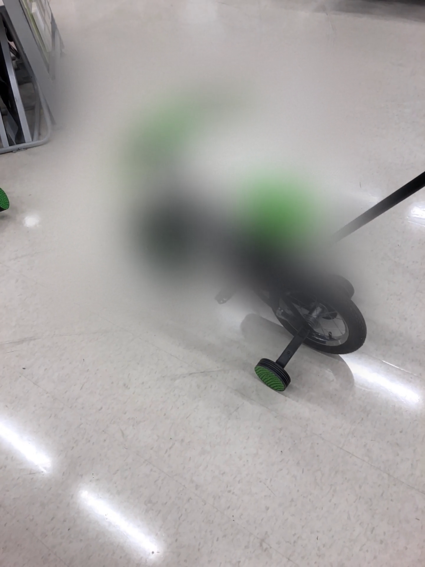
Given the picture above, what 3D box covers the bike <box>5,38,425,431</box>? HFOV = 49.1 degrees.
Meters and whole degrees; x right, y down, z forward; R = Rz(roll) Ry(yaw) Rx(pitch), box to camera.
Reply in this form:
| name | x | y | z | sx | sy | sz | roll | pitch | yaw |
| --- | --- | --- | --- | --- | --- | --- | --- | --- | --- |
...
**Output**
| name | x | y | z | sx | sy | sz | roll | pitch | yaw |
| --- | --- | --- | --- | --- | --- | --- | --- | --- | --- |
| bike | 0.032 | -0.155 | 1.285 | 0.848 | 0.600 | 0.492 | 28 | 60 | 25 |
